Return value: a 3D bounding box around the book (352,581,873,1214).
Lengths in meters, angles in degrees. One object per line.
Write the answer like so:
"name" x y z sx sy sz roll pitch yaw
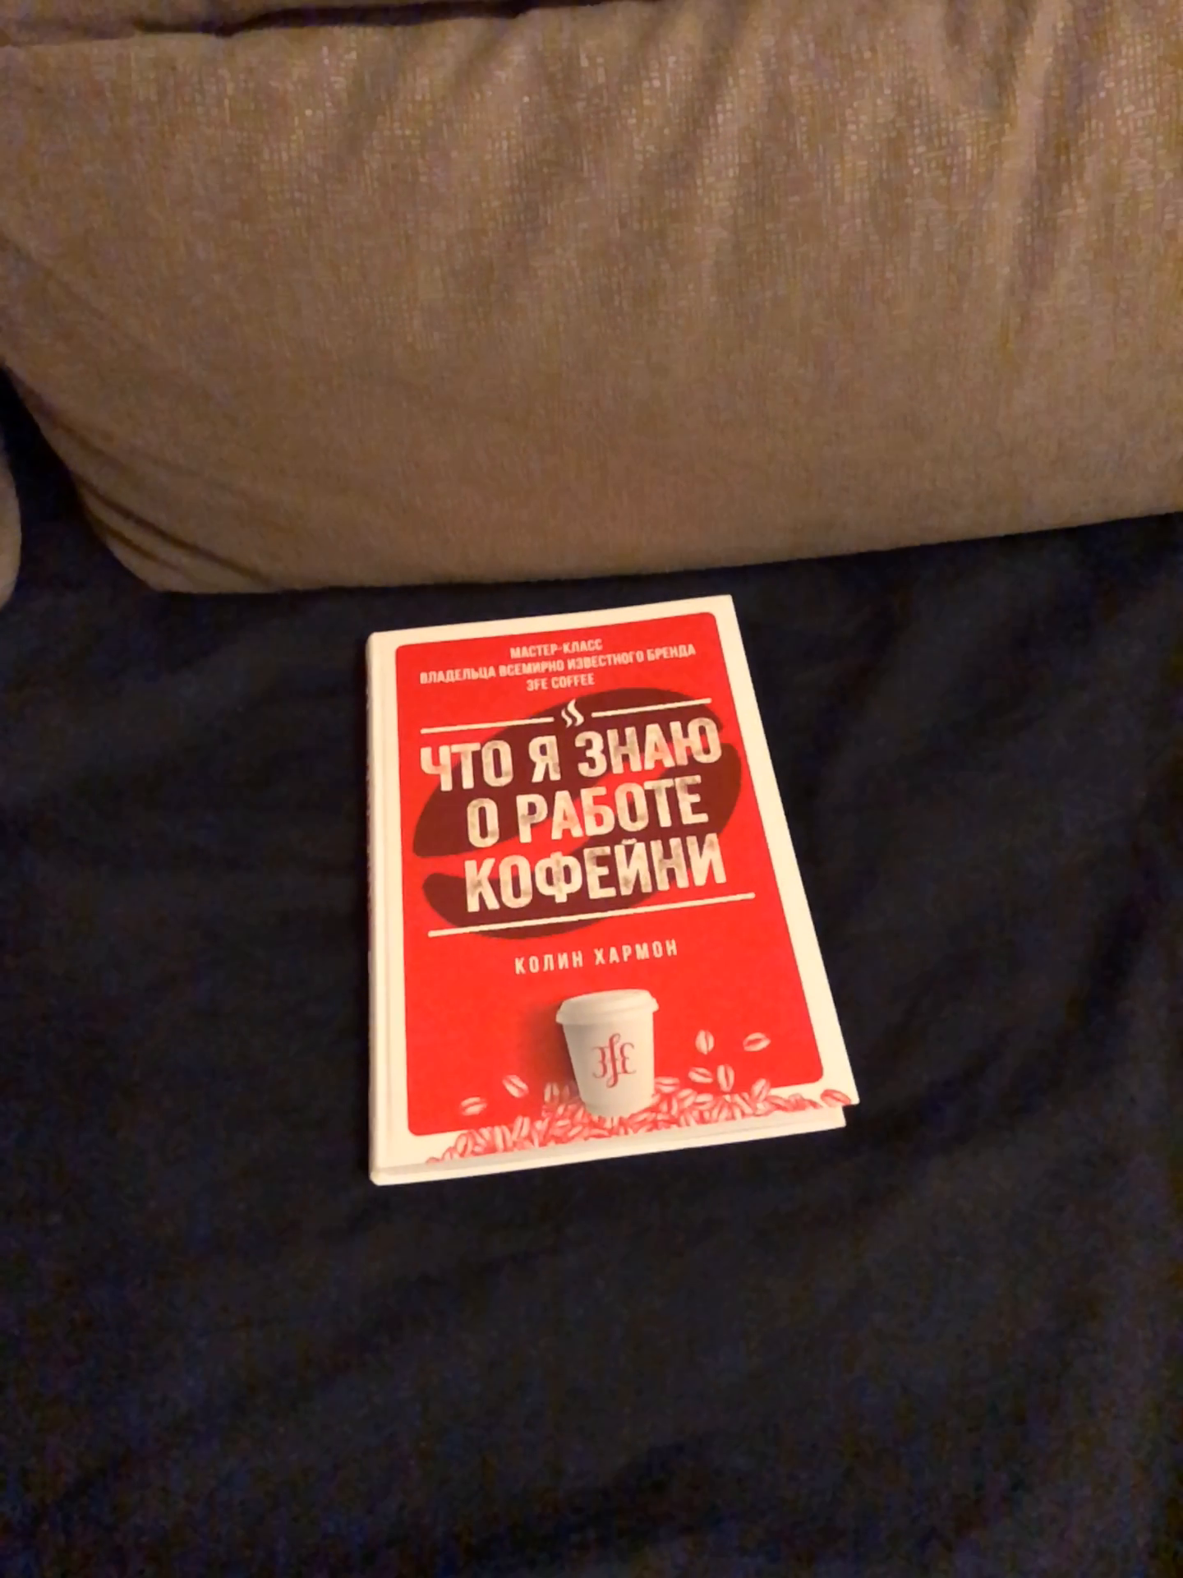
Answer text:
"book" -0.005 0.024 0.453 0.153 0.020 0.223 -7 55 -1
